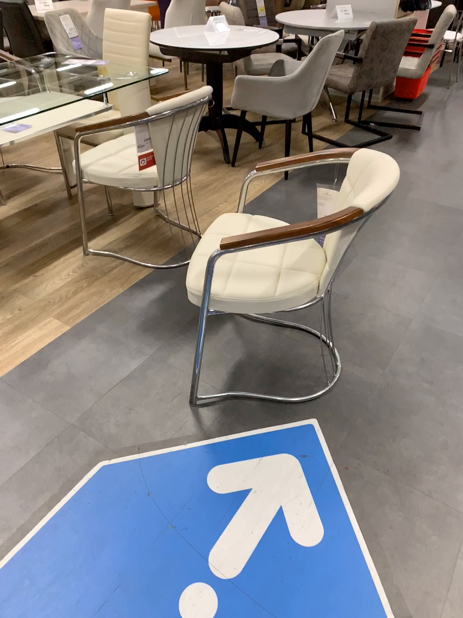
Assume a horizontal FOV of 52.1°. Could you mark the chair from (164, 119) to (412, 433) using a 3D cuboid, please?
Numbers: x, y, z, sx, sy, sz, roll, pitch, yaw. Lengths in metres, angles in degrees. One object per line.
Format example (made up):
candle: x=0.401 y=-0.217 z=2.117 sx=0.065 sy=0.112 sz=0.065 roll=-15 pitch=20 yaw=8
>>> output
chair: x=0.180 y=-0.121 z=1.626 sx=0.600 sy=0.815 sz=0.603 roll=7 pitch=38 yaw=9
